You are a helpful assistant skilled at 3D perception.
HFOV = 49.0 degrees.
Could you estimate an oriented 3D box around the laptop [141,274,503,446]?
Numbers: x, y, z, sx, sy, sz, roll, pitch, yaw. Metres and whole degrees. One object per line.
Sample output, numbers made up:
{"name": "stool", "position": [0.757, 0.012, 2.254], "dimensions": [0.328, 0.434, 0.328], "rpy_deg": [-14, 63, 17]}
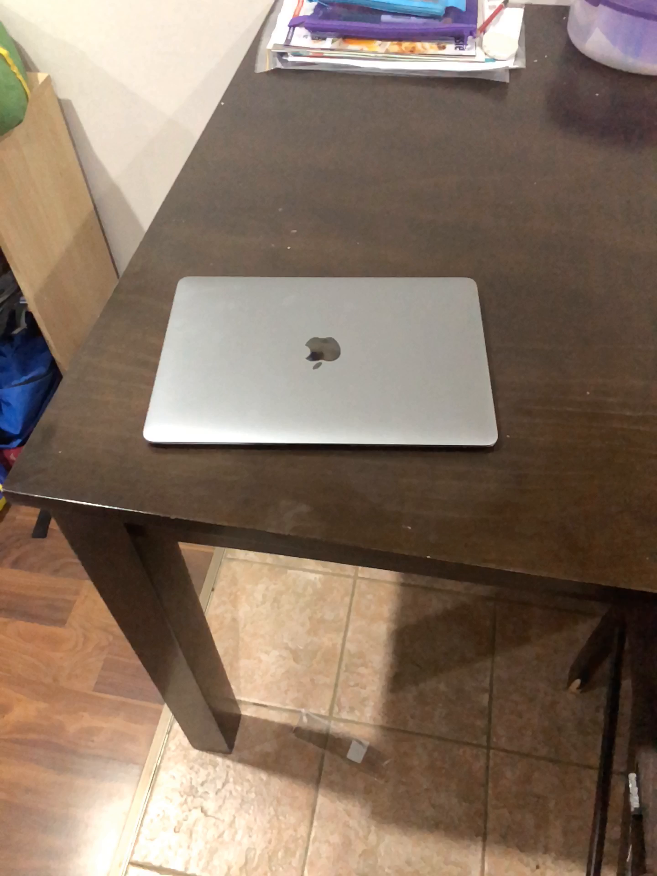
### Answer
{"name": "laptop", "position": [-0.002, -0.073, 0.610], "dimensions": [0.275, 0.002, 0.196], "rpy_deg": [1, 52, 0]}
